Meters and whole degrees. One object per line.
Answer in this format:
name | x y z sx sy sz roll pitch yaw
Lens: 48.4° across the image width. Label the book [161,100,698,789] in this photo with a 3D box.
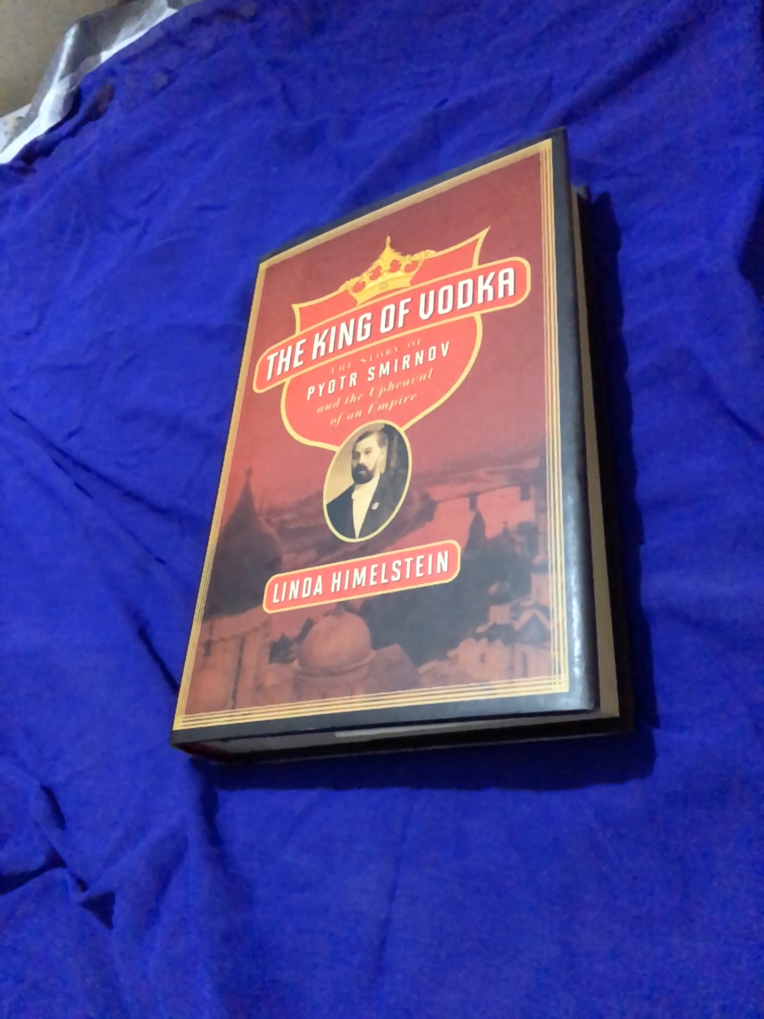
book | 0.017 -0.027 0.338 0.170 0.050 0.250 -14 55 29
